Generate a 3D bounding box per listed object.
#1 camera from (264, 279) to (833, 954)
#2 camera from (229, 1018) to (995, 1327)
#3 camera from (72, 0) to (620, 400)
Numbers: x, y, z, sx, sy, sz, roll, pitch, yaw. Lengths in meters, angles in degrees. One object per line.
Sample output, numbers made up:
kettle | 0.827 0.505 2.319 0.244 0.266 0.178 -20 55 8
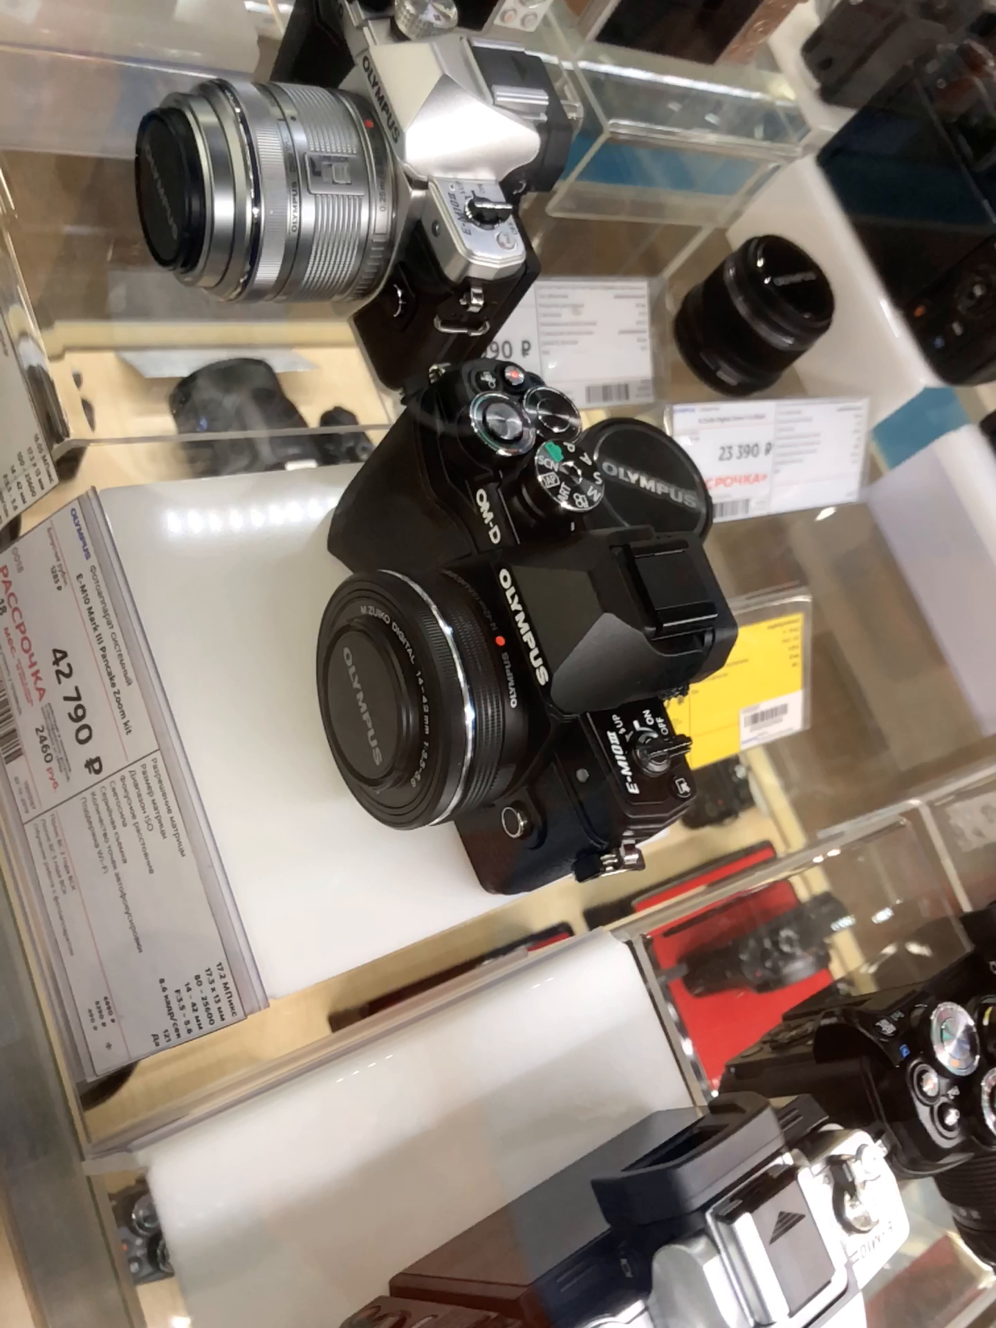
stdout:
camera | 0.005 -0.010 0.268 0.064 0.082 0.129 -9 71 -36
camera | 0.034 0.141 0.207 0.124 0.074 0.094 -14 74 -37
camera | -0.045 -0.142 0.298 0.094 0.080 0.112 -9 71 -36
